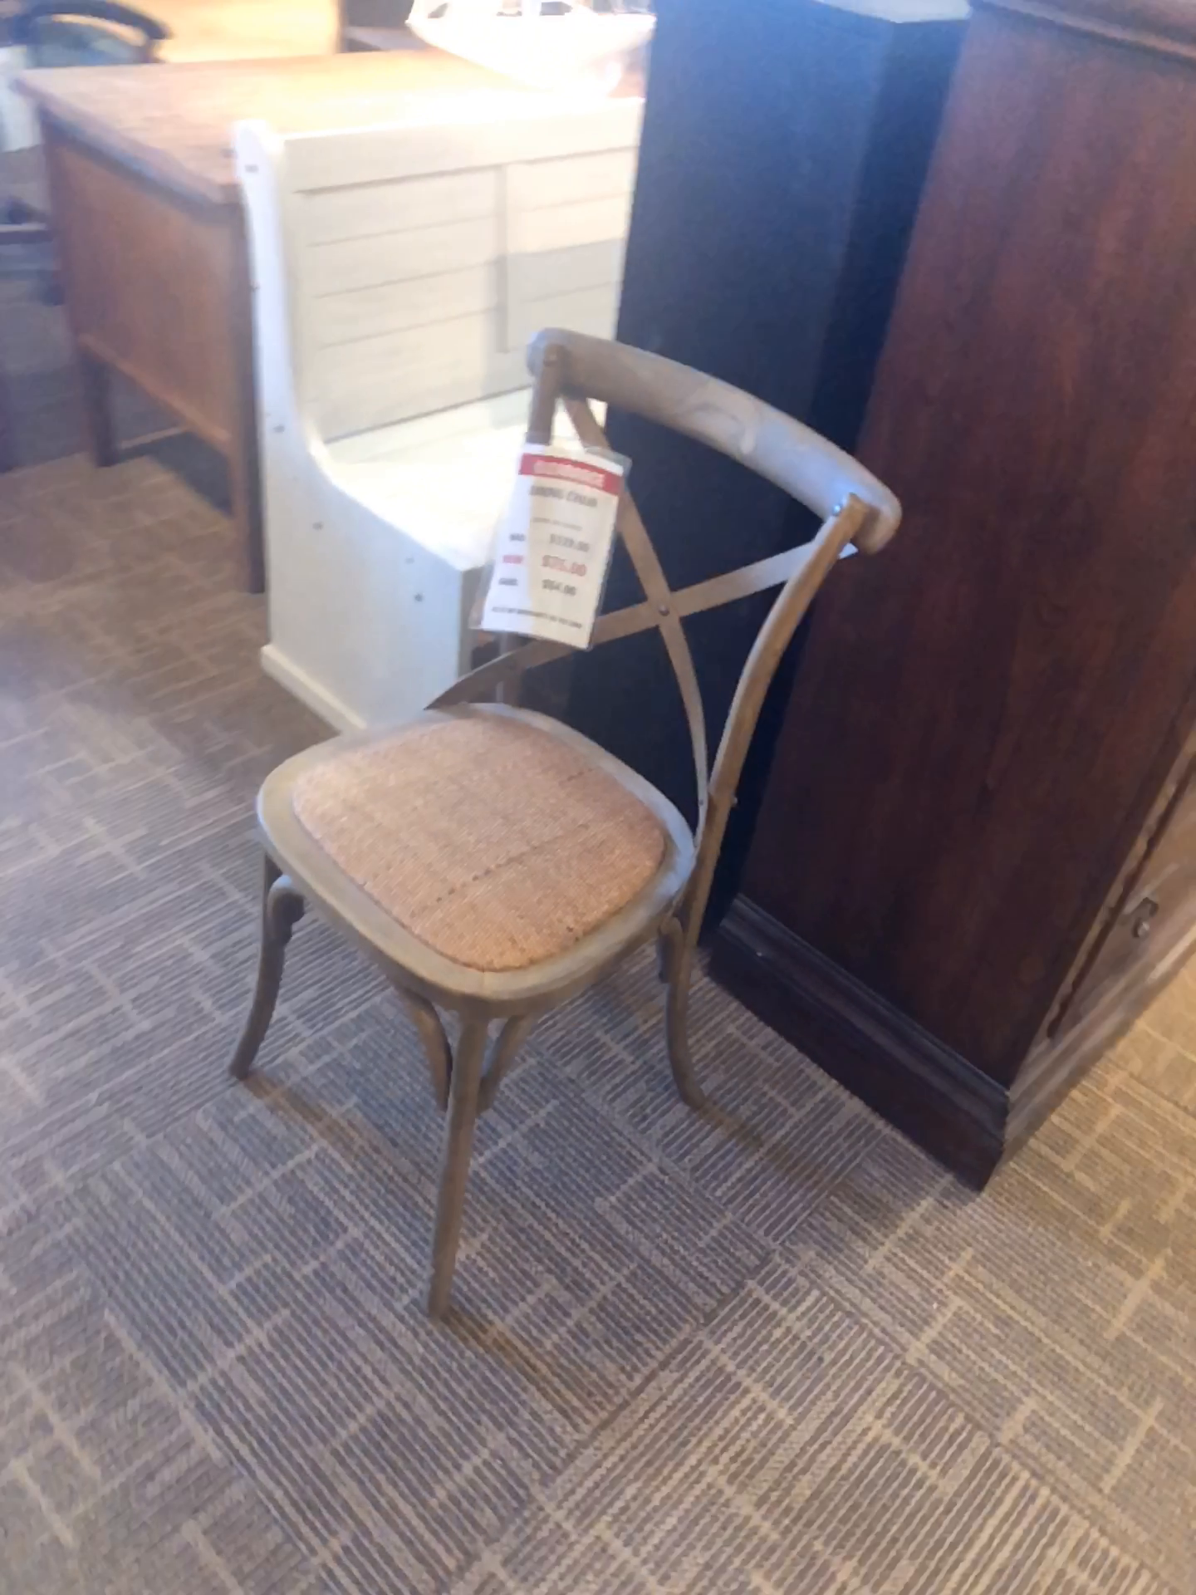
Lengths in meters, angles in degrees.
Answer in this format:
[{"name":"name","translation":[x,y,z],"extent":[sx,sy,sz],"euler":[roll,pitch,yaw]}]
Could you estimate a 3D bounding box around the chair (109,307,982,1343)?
[{"name":"chair","translation":[-0.083,0.014,1.405],"extent":[0.567,0.813,0.516],"euler":[-27,51,-35]}]
